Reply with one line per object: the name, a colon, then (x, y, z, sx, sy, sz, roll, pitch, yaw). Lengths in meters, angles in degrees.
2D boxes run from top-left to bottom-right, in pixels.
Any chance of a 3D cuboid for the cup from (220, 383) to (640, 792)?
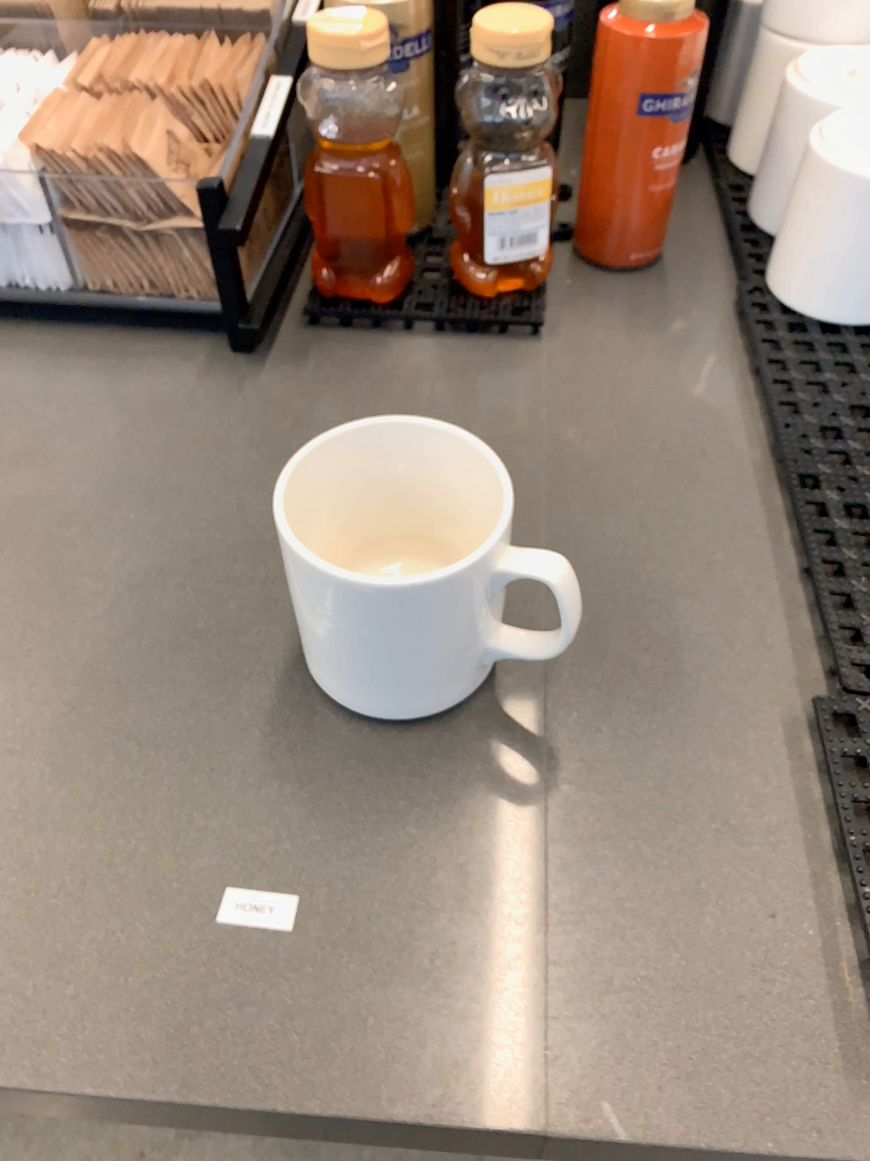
cup: (0.001, 0.000, 0.348, 0.120, 0.090, 0.090, 18, 51, 15)
